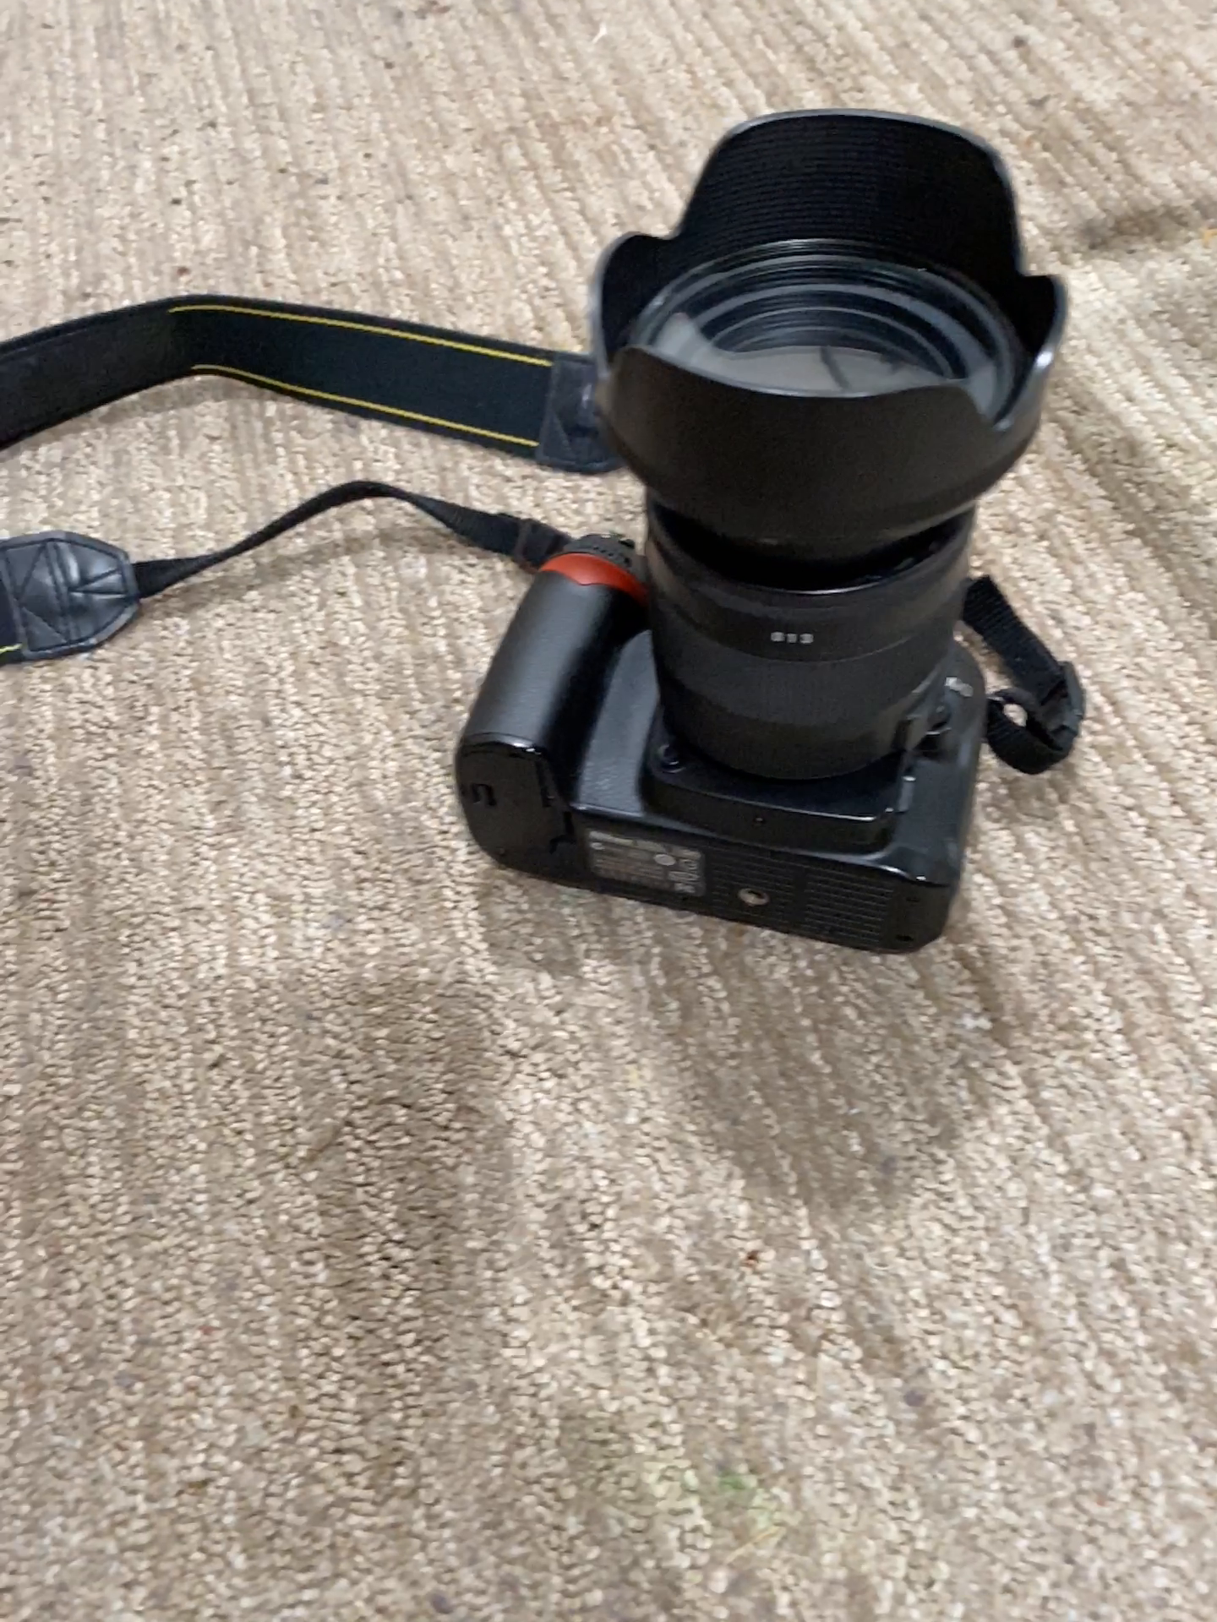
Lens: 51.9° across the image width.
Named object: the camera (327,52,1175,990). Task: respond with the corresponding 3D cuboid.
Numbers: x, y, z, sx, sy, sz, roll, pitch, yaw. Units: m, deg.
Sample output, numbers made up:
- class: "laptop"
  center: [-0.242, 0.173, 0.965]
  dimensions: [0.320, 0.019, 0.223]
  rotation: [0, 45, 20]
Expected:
- class: "camera"
  center: [0.035, -0.062, 0.300]
  dimensions: [0.138, 0.165, 0.114]
  rotation: [12, 55, 10]
